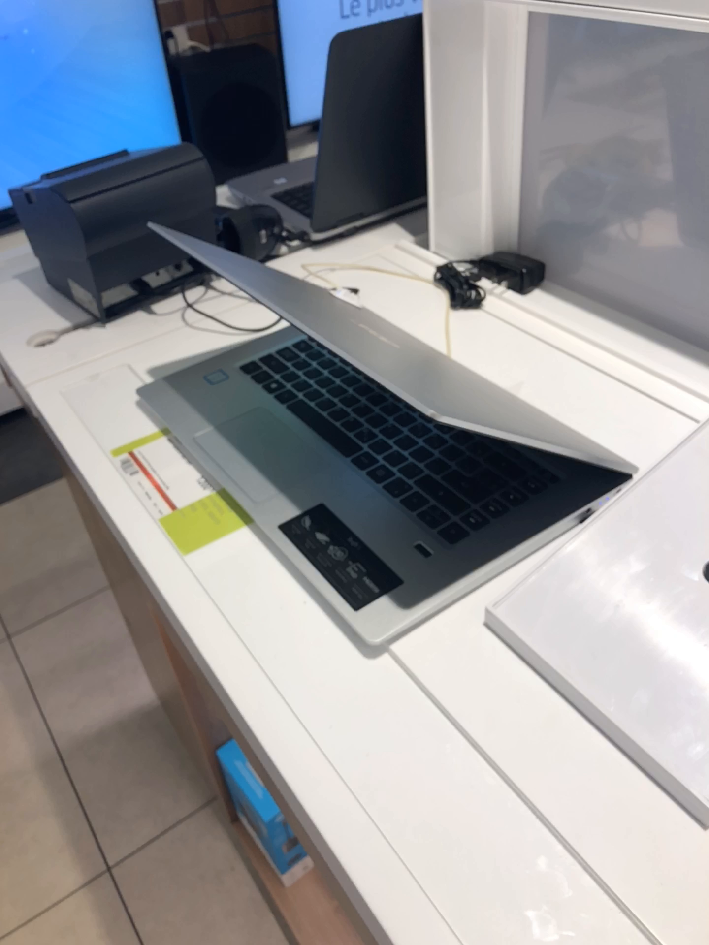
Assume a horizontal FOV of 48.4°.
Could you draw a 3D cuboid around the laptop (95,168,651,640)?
[{"bbox_3d":[-0.008,-0.085,0.578,0.217,0.132,0.348,-28,44,-23],"label":"laptop"}]
